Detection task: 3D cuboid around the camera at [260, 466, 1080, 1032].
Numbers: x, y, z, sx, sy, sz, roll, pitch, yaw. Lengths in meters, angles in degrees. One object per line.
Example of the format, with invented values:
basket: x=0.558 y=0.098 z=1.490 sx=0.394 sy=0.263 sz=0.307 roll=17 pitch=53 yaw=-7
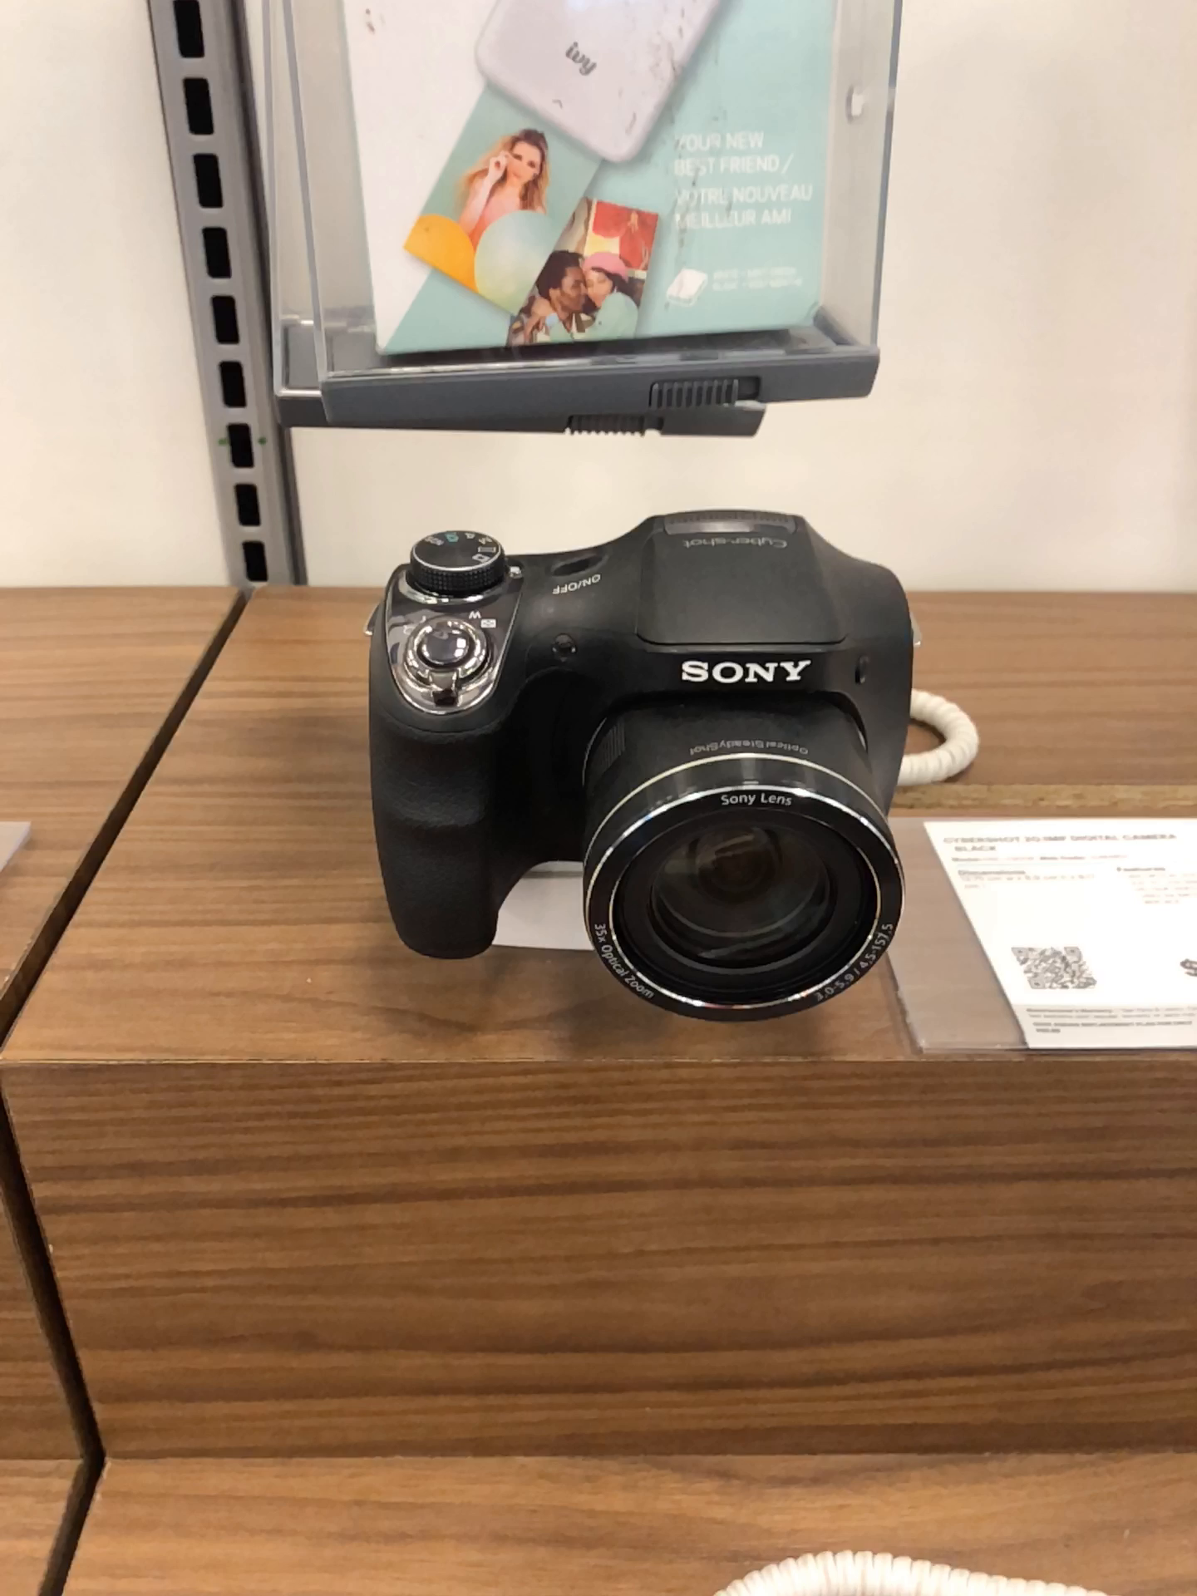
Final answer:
camera: x=0.011 y=-0.019 z=0.300 sx=0.140 sy=0.080 sz=0.121 roll=-1 pitch=28 yaw=-1
